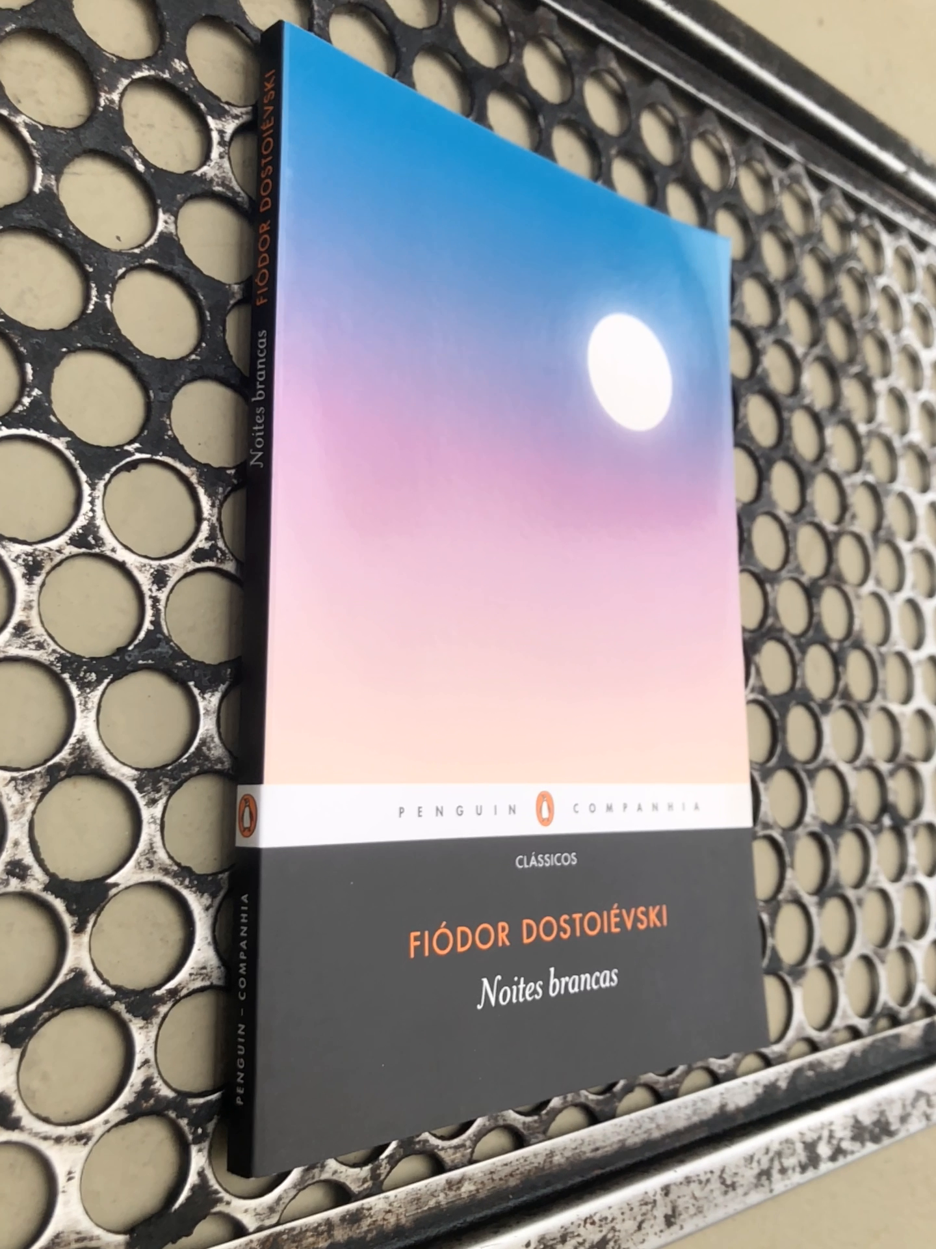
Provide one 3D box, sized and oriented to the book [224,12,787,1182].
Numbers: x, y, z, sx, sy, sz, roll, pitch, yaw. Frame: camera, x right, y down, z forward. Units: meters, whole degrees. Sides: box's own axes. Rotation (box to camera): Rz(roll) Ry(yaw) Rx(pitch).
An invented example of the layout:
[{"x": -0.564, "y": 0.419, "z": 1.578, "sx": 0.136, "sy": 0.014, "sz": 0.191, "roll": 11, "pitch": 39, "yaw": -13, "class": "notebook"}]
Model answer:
[{"x": 0.017, "y": -0.006, "z": 0.214, "sx": 0.133, "sy": 0.010, "sz": 0.191, "roll": 7, "pitch": 78, "yaw": -39, "class": "book"}]
